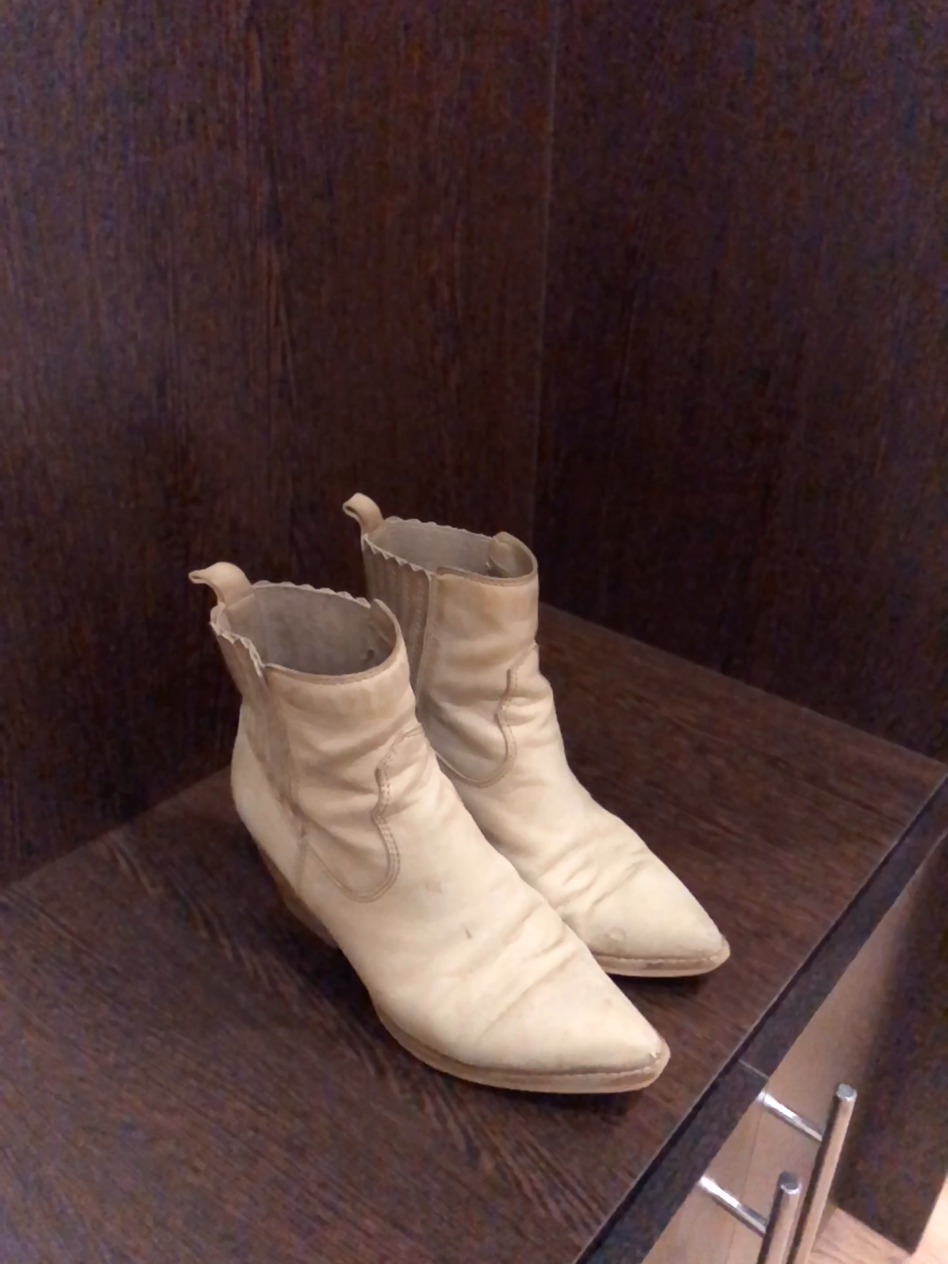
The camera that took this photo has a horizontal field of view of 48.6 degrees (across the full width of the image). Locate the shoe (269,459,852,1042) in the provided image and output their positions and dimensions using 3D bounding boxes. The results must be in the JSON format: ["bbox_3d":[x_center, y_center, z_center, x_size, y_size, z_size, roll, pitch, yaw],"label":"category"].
[{"bbox_3d":[0.024,0.039,0.538,0.100,0.169,0.281,-25,38,-38],"label":"shoe"}]

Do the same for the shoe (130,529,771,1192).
[{"bbox_3d":[-0.023,0.083,0.480,0.270,0.169,0.100,23,38,35],"label":"shoe"}]
